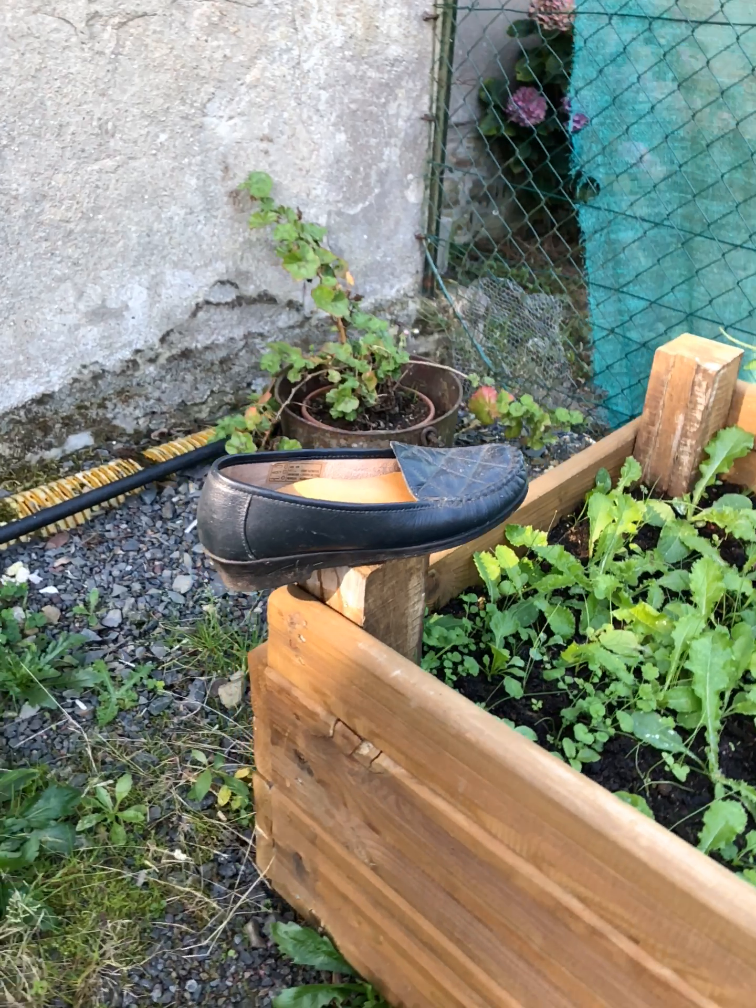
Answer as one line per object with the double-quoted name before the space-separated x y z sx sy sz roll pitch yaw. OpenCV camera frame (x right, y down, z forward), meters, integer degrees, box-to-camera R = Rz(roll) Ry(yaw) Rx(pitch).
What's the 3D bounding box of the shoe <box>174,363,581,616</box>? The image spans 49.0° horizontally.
"shoe" 0.000 -0.018 0.591 0.261 0.089 0.100 -13 35 -15
